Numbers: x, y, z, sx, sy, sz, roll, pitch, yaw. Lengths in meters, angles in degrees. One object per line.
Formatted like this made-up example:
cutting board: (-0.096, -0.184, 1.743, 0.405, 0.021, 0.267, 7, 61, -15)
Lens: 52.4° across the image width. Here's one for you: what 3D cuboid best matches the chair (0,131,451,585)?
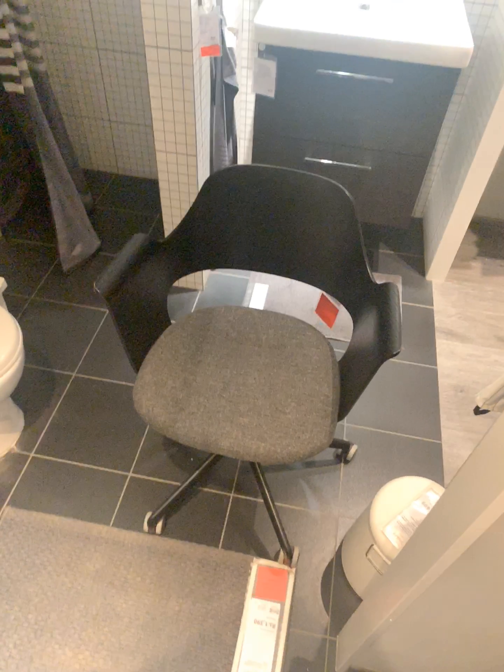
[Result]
chair: (-0.011, 0.070, 1.168, 0.640, 0.738, 0.602, 10, 49, 6)
